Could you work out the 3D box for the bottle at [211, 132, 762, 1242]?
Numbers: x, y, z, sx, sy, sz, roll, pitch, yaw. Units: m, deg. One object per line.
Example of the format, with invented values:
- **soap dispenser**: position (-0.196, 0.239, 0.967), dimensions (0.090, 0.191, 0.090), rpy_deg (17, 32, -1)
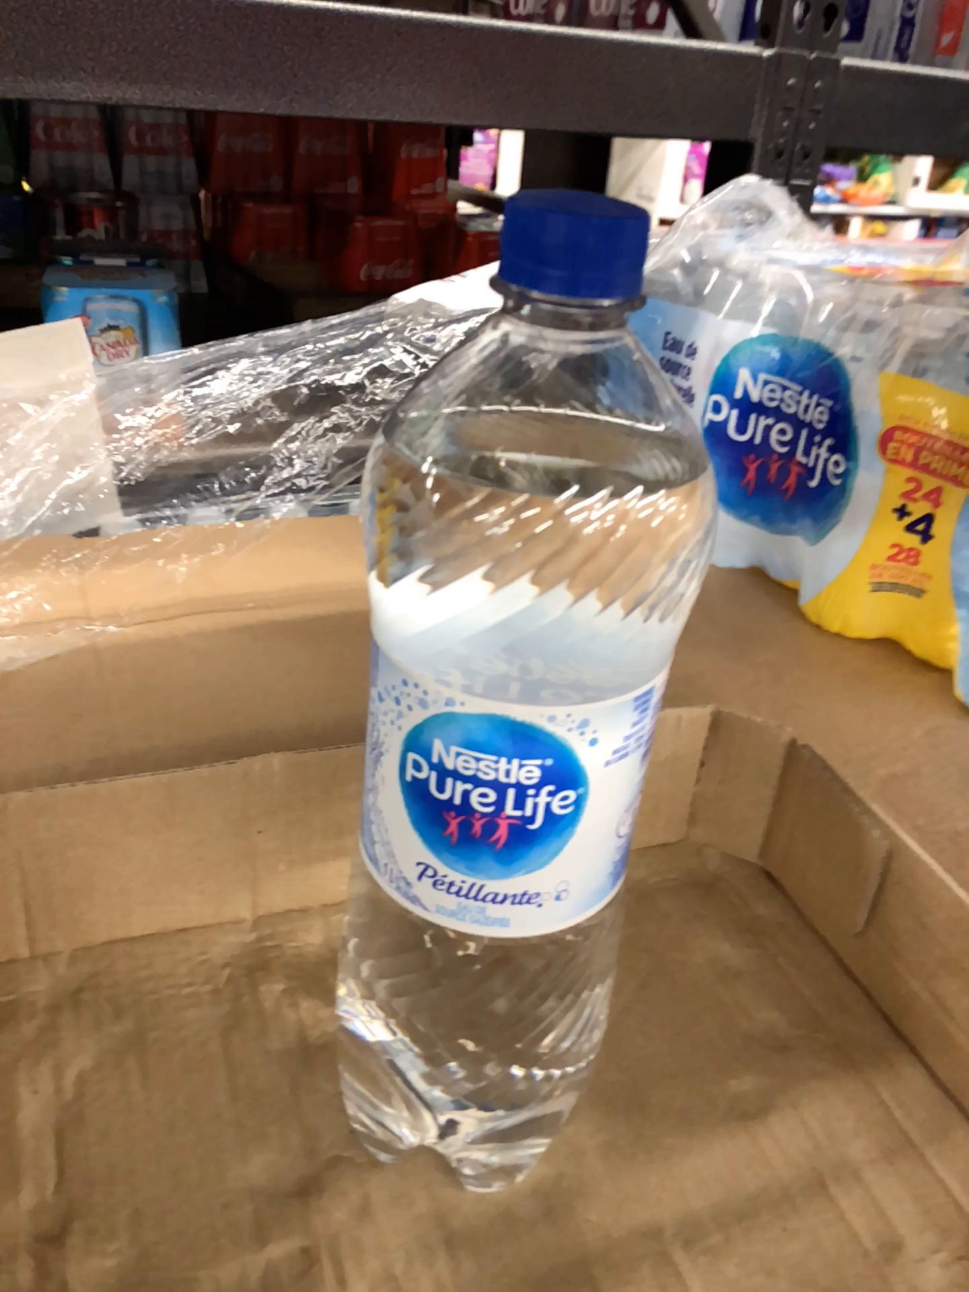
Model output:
- **bottle**: position (-0.002, 0.017, 0.296), dimensions (0.100, 0.278, 0.101), rpy_deg (4, 27, -2)
